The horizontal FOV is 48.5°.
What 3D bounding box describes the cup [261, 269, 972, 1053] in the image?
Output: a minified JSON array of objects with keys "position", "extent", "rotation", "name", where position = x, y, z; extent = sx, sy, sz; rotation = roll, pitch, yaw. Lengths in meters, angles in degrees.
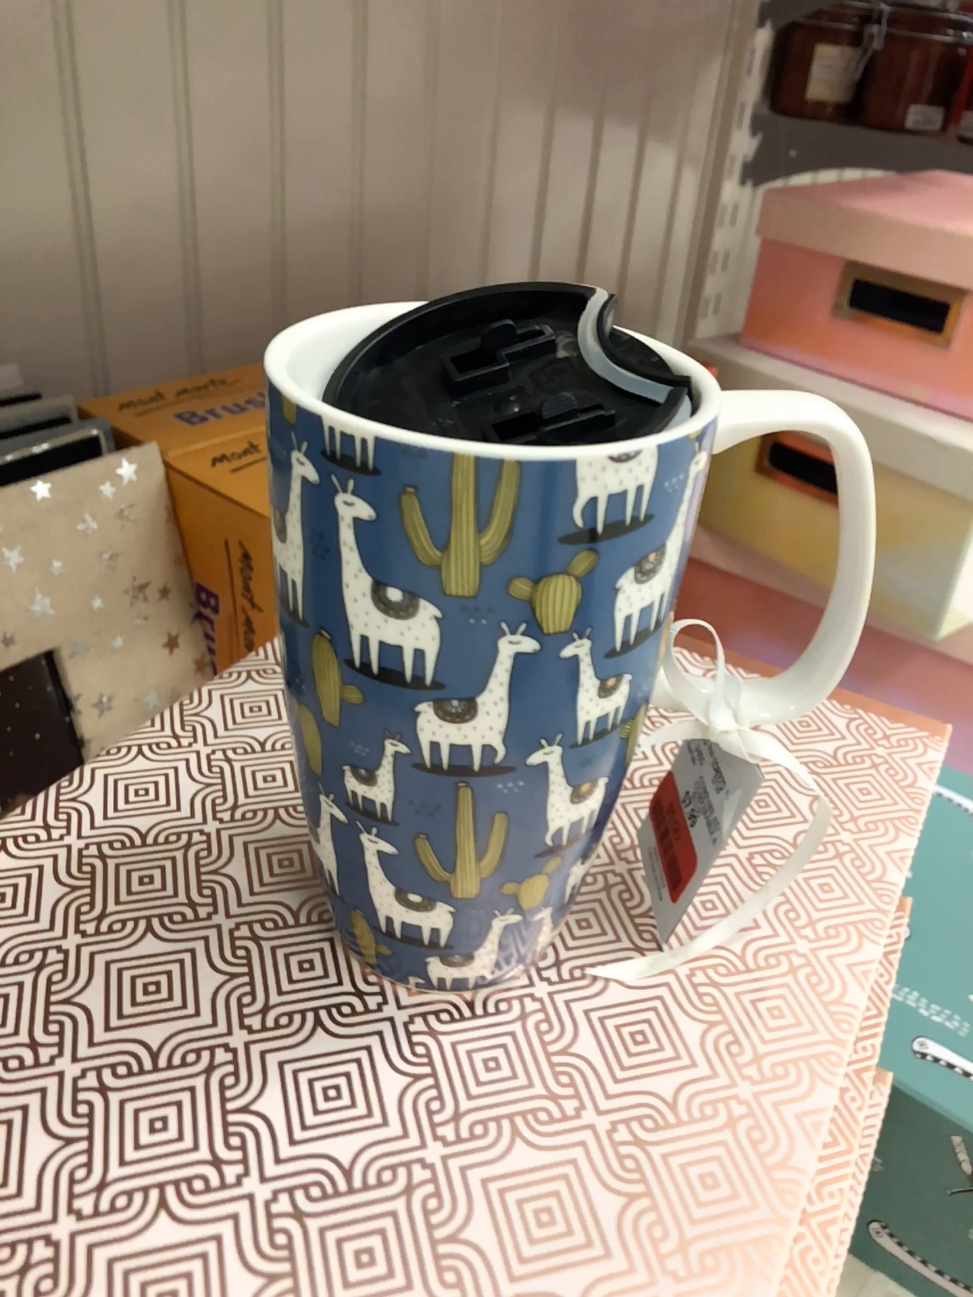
[{"position":[0.017,0.001,0.239],"extent":[0.125,0.138,0.090],"rotation":[-1,32,-10],"name":"cup"}]
